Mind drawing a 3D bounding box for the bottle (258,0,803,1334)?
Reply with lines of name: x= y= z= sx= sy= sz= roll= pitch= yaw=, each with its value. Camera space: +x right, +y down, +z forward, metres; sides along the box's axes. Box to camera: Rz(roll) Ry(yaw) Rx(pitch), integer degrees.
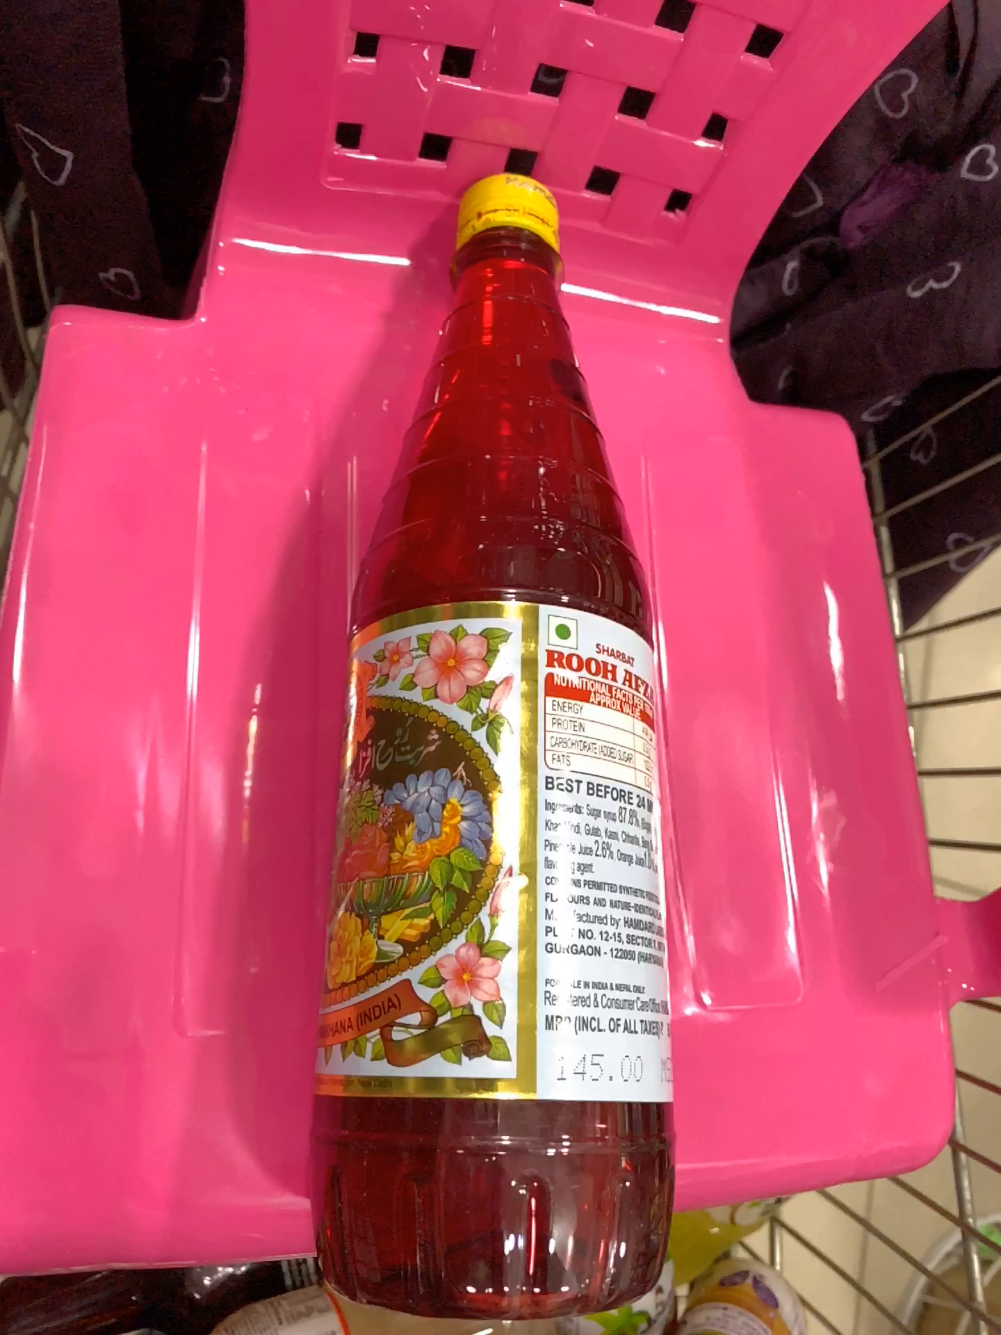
bottle: x=0.011 y=-0.002 z=0.224 sx=0.080 sy=0.060 sz=0.260 roll=12 pitch=73 yaw=-31
